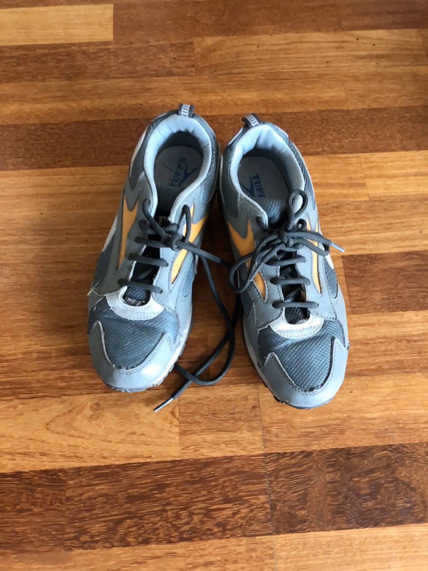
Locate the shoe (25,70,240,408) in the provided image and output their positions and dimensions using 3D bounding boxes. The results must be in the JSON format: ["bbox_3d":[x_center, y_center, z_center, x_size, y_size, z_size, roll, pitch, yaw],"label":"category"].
[{"bbox_3d":[-0.059,-0.046,0.432,0.110,0.088,0.284,12,69,0],"label":"shoe"}]

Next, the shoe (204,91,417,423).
[{"bbox_3d":[0.070,-0.031,0.439,0.112,0.099,0.284,-7,69,-7],"label":"shoe"}]
